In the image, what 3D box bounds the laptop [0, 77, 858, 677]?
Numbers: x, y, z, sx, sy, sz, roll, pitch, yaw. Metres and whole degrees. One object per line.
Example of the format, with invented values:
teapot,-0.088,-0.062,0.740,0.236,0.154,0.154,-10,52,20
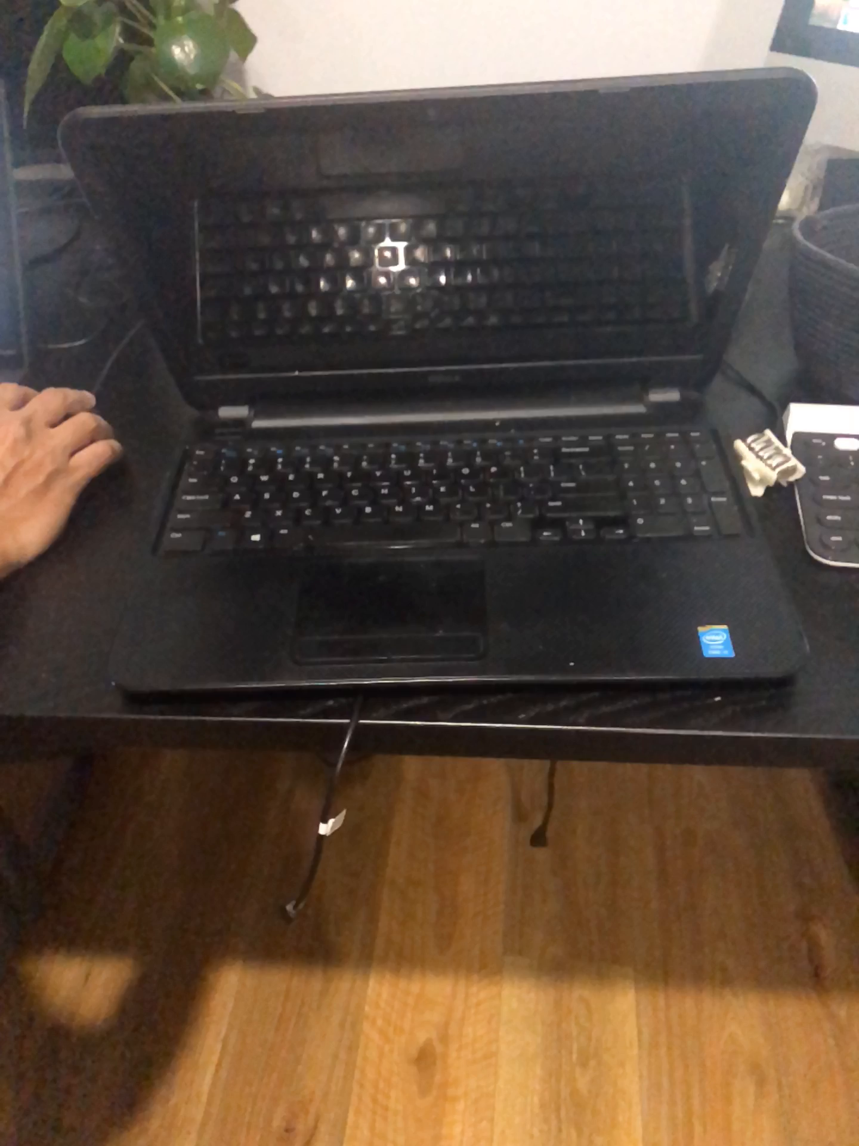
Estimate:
laptop,-0.001,-0.101,0.499,0.366,0.210,0.207,-1,44,4
